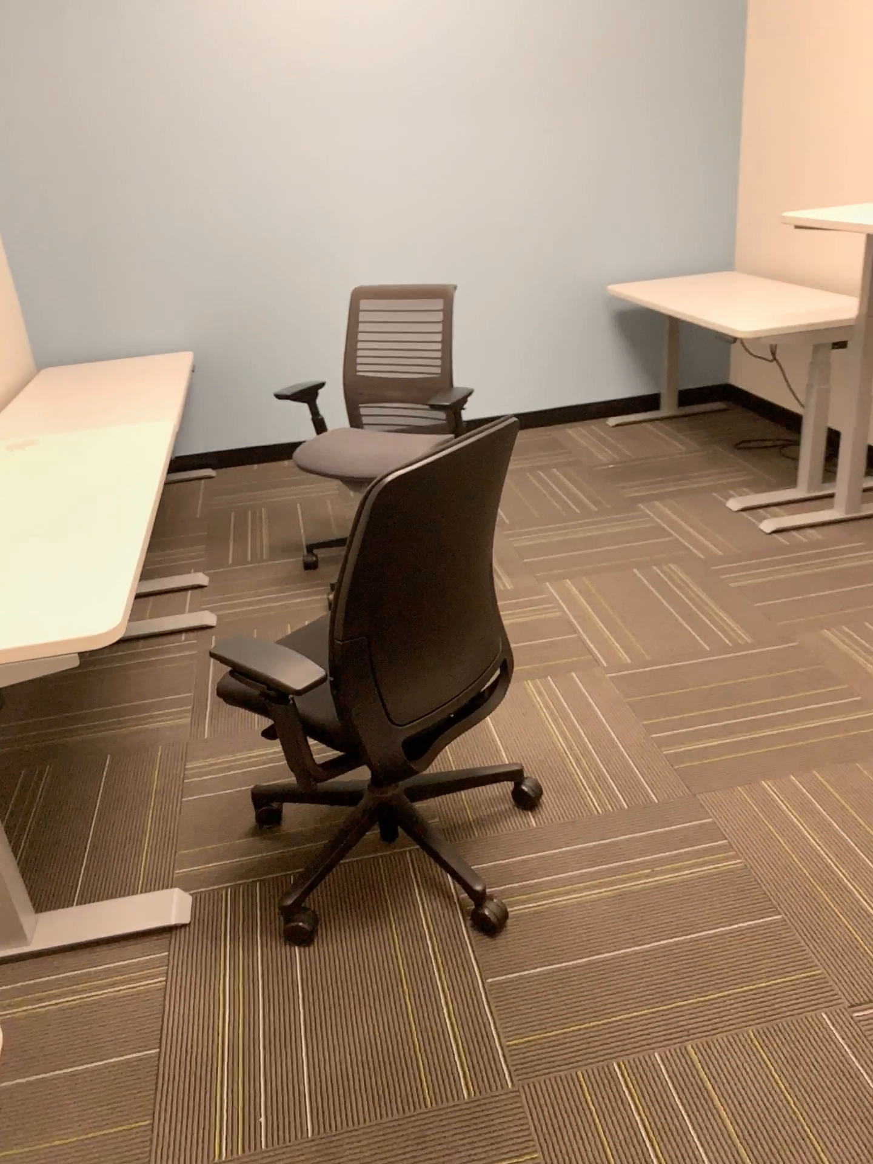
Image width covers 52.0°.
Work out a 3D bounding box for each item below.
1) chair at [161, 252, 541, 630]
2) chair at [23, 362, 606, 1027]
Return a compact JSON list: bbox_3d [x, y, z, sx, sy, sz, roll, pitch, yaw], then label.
[{"bbox_3d":[-0.232,-0.532,3.033,0.893,0.994,0.772,11,29,30],"label":"chair"},{"bbox_3d":[-0.162,0.126,1.775,0.772,0.934,0.682,12,30,32],"label":"chair"}]
